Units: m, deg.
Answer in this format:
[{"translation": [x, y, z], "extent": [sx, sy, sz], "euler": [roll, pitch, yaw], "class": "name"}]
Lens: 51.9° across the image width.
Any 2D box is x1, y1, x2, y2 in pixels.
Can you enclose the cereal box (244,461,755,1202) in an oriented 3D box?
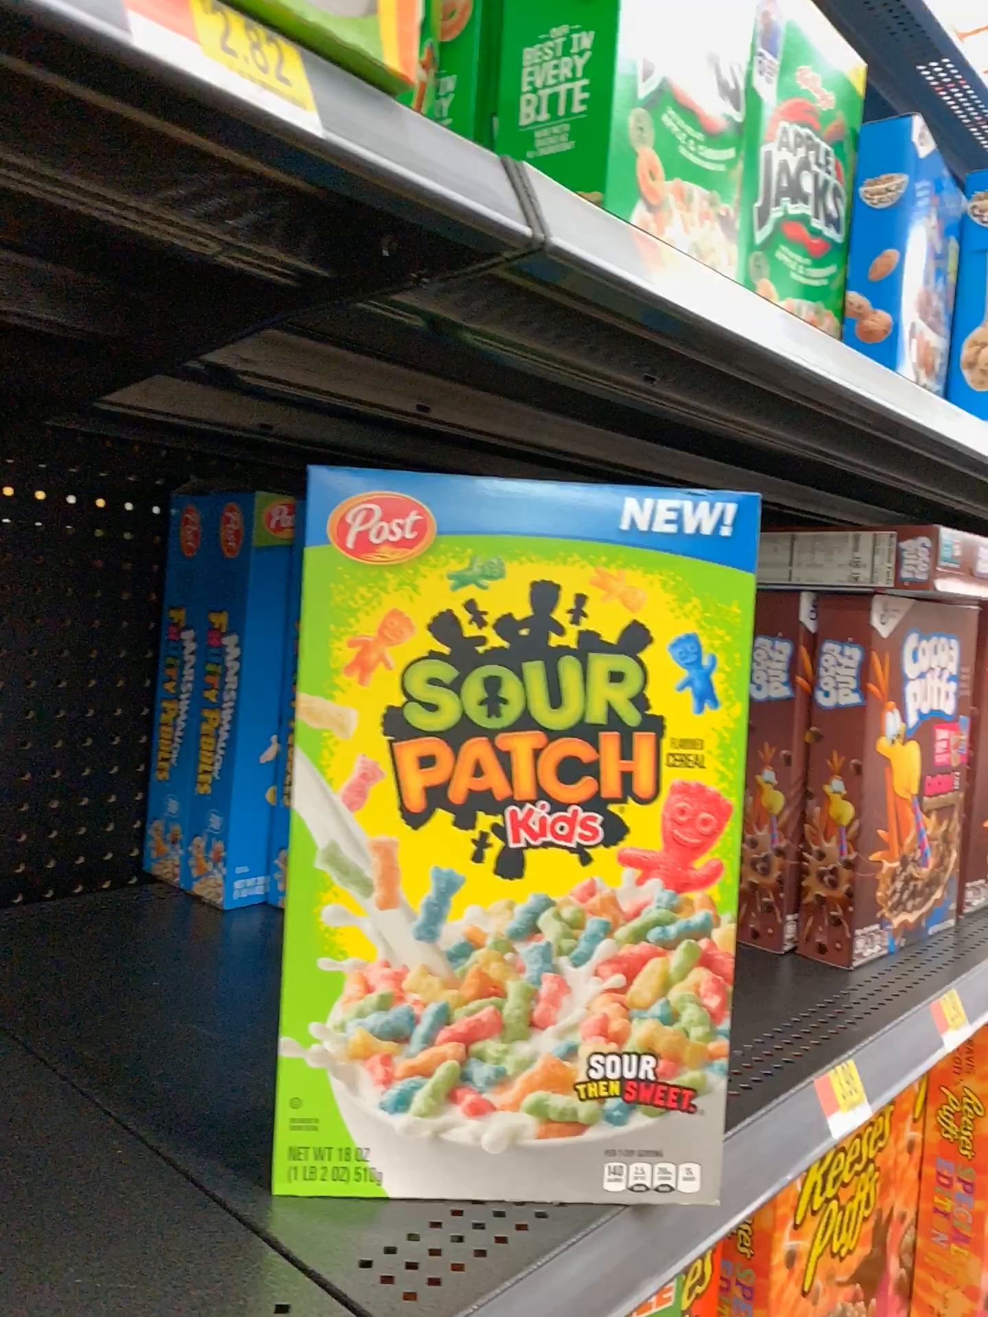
[{"translation": [0.000, 0.076, 0.473], "extent": [0.200, 0.310, 0.080], "euler": [3, 2, -4], "class": "cereal box"}]
